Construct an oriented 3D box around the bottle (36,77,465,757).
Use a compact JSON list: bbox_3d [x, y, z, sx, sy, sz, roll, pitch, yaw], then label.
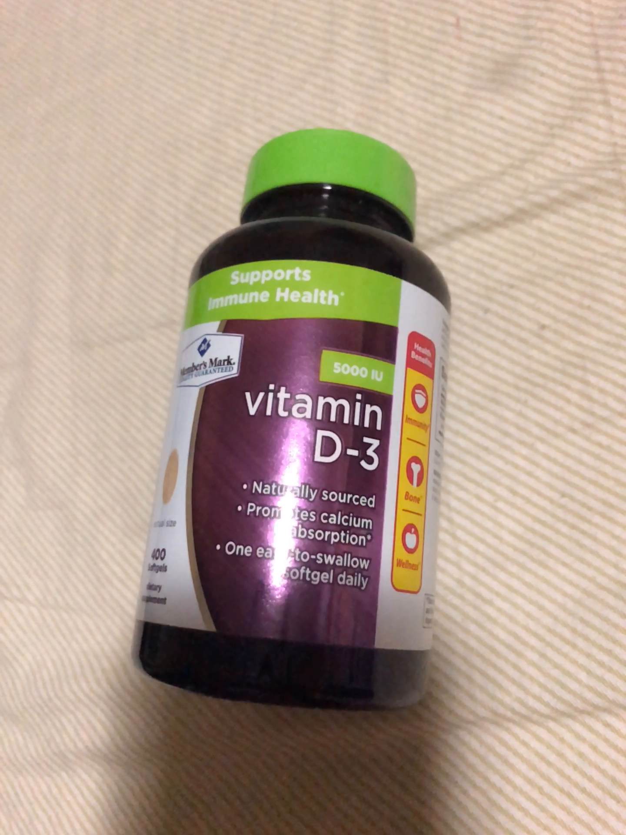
[{"bbox_3d":[-0.004,0.001,0.149,0.060,0.060,0.110,0,75,19],"label":"bottle"}]
